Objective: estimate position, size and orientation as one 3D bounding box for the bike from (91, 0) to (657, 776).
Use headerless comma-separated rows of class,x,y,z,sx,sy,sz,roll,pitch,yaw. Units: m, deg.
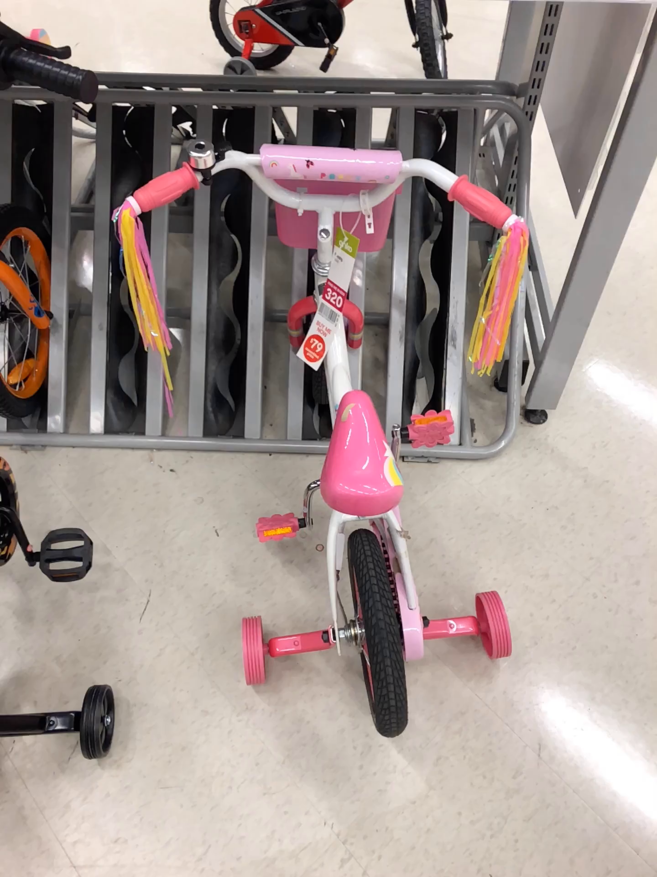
bike,0.017,-0.110,1.085,0.515,0.591,0.947,-6,54,-4
